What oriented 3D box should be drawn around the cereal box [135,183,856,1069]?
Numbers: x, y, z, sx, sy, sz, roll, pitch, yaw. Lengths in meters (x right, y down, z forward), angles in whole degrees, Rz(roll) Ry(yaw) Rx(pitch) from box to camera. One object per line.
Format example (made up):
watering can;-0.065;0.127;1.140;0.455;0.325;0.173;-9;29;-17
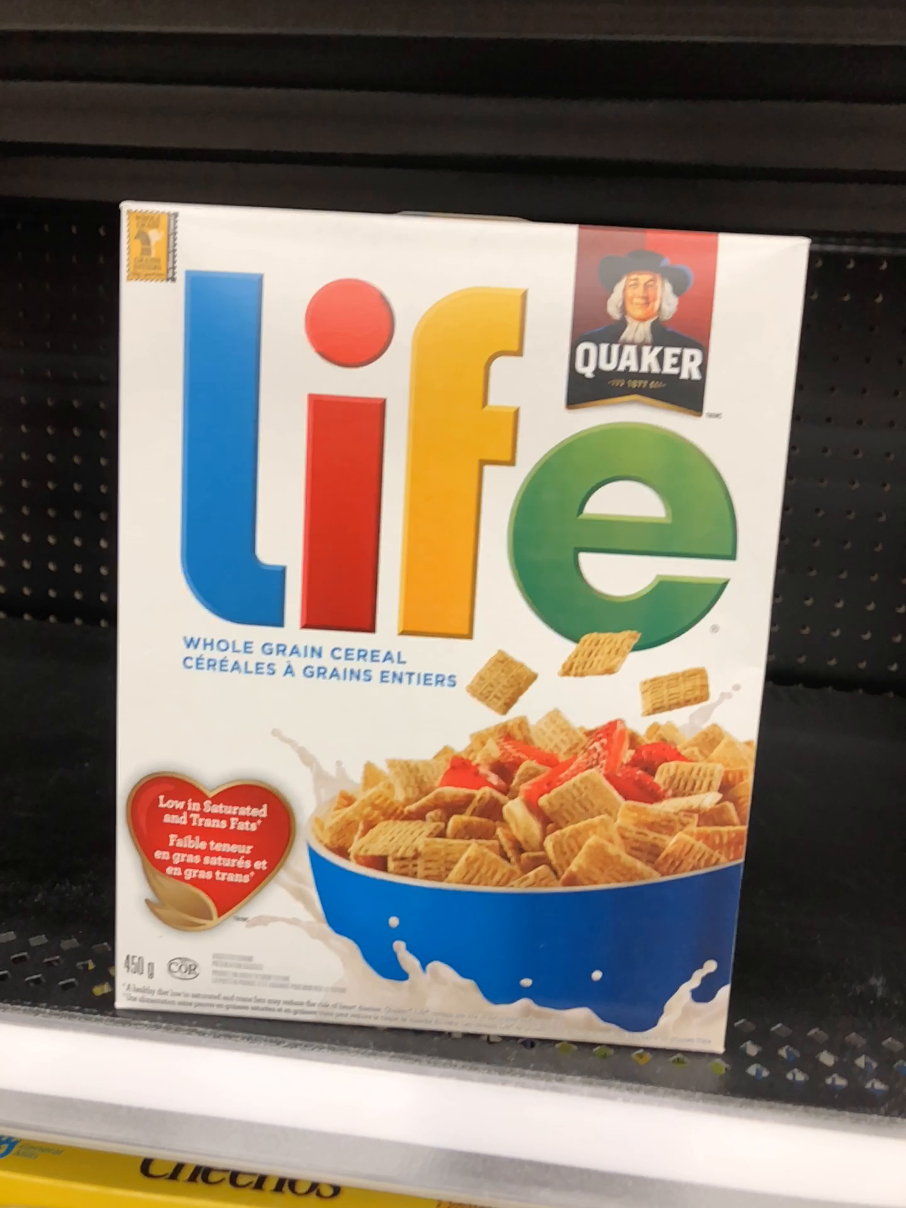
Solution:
cereal box;0.005;0.010;0.332;0.200;0.259;0.060;4;10;1
